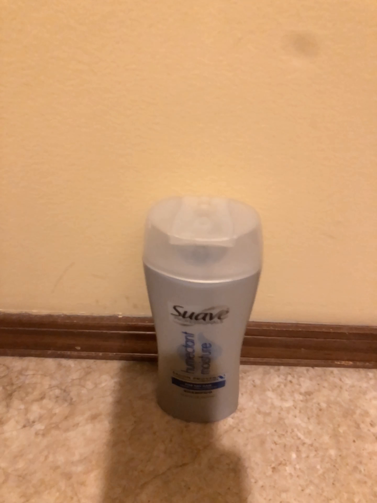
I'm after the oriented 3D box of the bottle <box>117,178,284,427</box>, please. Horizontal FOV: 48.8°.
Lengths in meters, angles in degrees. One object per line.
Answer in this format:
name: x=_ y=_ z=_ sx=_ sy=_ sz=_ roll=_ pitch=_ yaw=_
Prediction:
bottle: x=0.005 y=0.052 z=0.290 sx=0.080 sy=0.210 sz=0.050 roll=1 pitch=44 yaw=0
